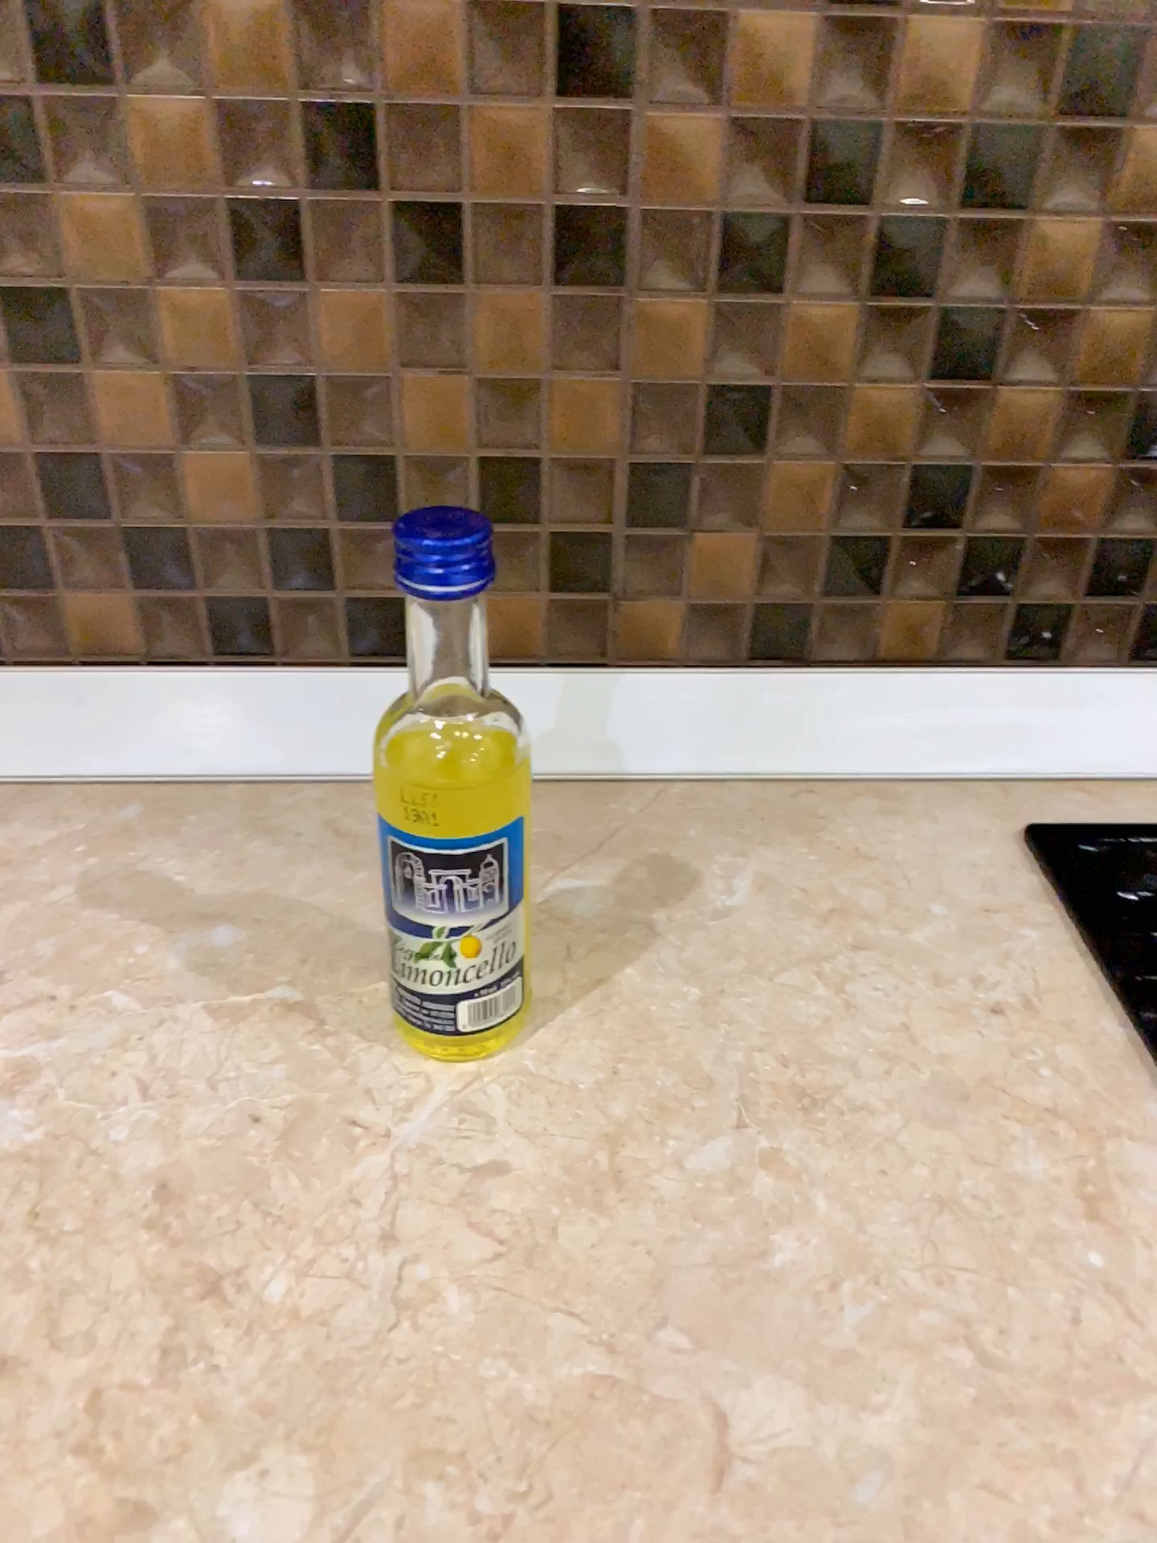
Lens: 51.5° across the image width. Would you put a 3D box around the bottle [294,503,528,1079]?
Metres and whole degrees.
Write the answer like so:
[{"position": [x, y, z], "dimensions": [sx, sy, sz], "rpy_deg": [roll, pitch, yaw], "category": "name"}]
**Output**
[{"position": [-0.030, 0.008, 0.246], "dimensions": [0.039, 0.119, 0.033], "rpy_deg": [-1, 33, -4], "category": "bottle"}]
